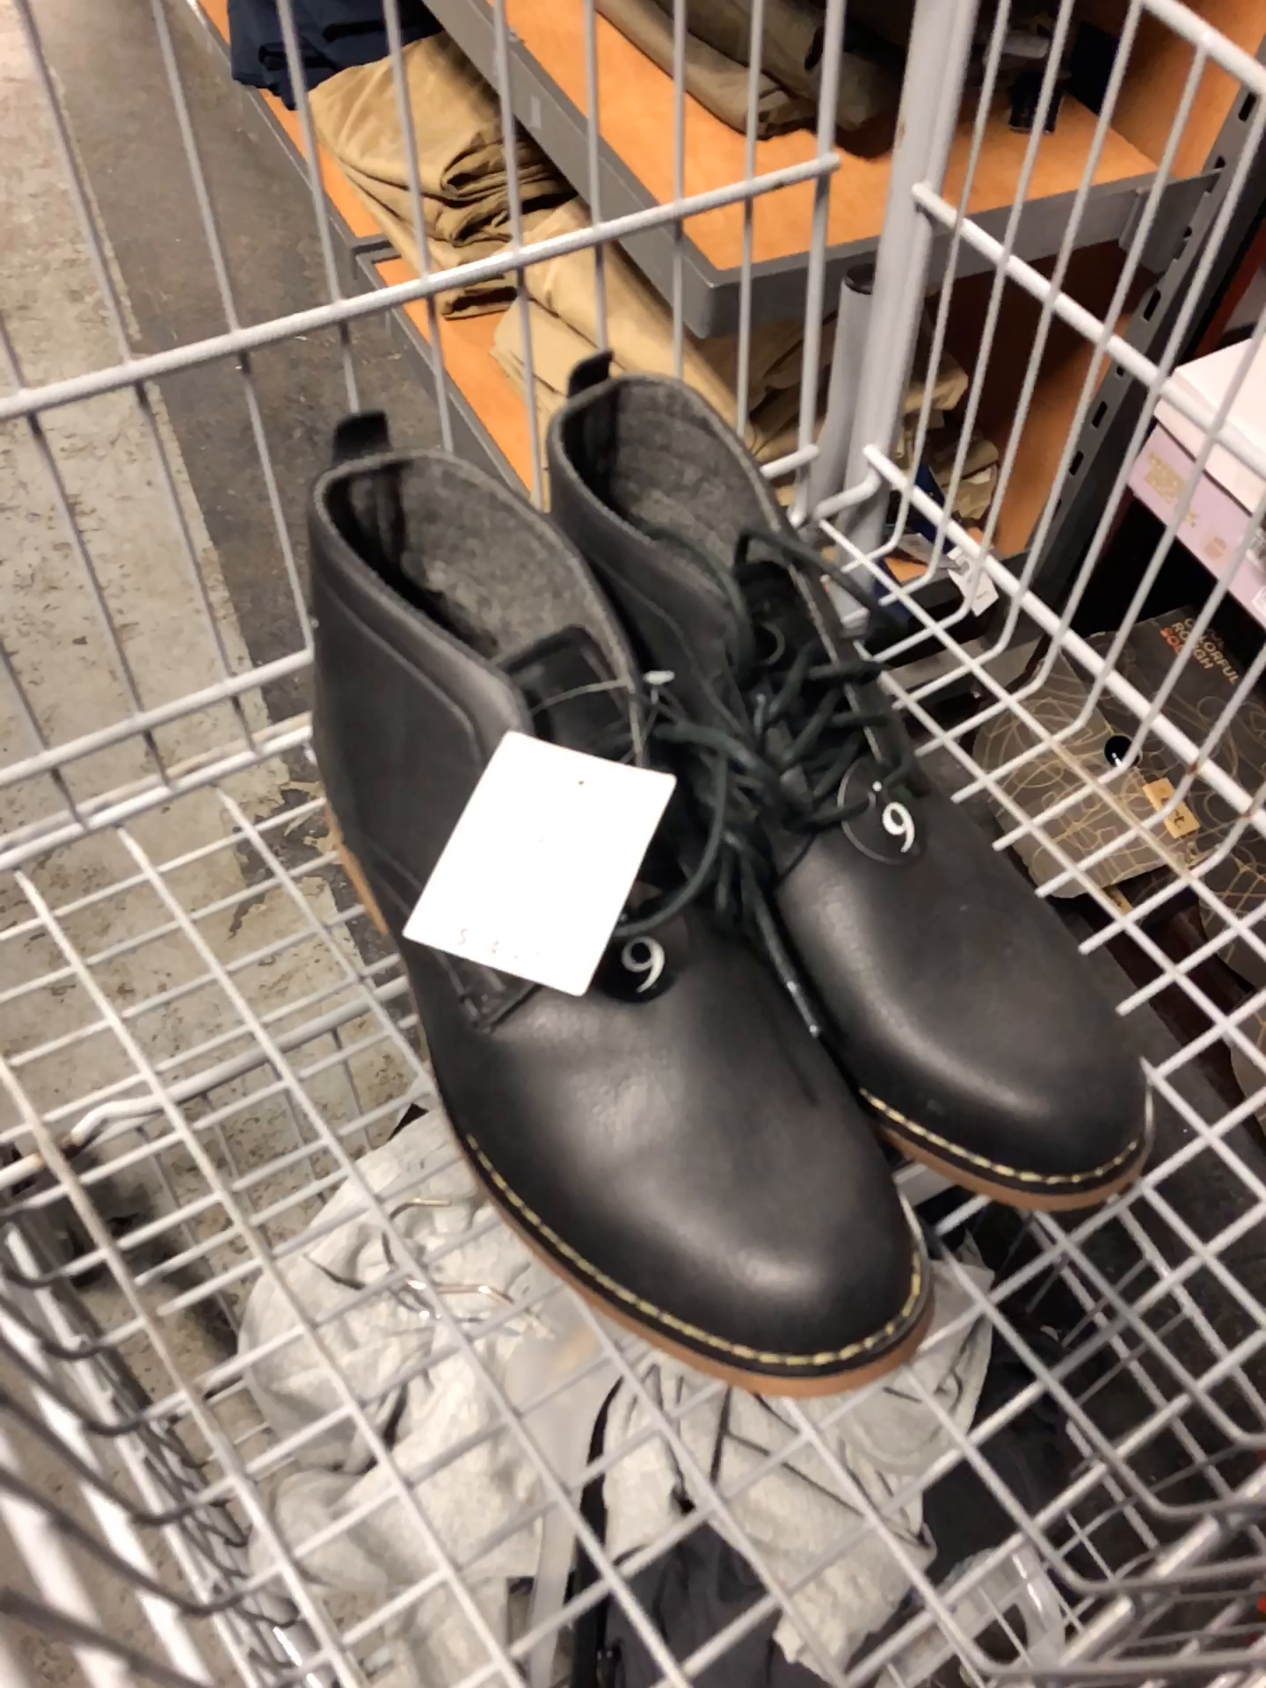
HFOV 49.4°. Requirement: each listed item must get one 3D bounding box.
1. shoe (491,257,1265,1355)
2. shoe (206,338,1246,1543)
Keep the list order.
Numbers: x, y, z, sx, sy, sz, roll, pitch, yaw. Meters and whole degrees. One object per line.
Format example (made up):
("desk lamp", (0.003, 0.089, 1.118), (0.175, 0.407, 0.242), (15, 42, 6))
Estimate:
("shoe", (0.069, -0.010, 0.435), (0.100, 0.199, 0.271), (-26, 63, -23))
("shoe", (-0.004, 0.030, 0.387), (0.100, 0.199, 0.261), (-26, 63, -23))
